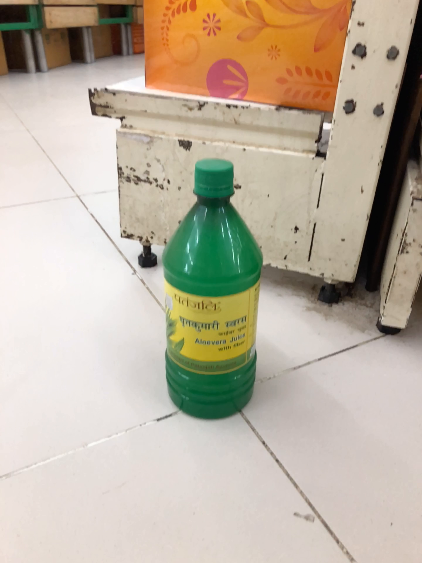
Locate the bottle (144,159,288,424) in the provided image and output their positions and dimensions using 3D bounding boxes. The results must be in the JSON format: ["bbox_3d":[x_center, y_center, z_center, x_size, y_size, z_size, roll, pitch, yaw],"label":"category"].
[{"bbox_3d":[0.002,0.013,0.422,0.100,0.219,0.101,0,30,0],"label":"bottle"}]
